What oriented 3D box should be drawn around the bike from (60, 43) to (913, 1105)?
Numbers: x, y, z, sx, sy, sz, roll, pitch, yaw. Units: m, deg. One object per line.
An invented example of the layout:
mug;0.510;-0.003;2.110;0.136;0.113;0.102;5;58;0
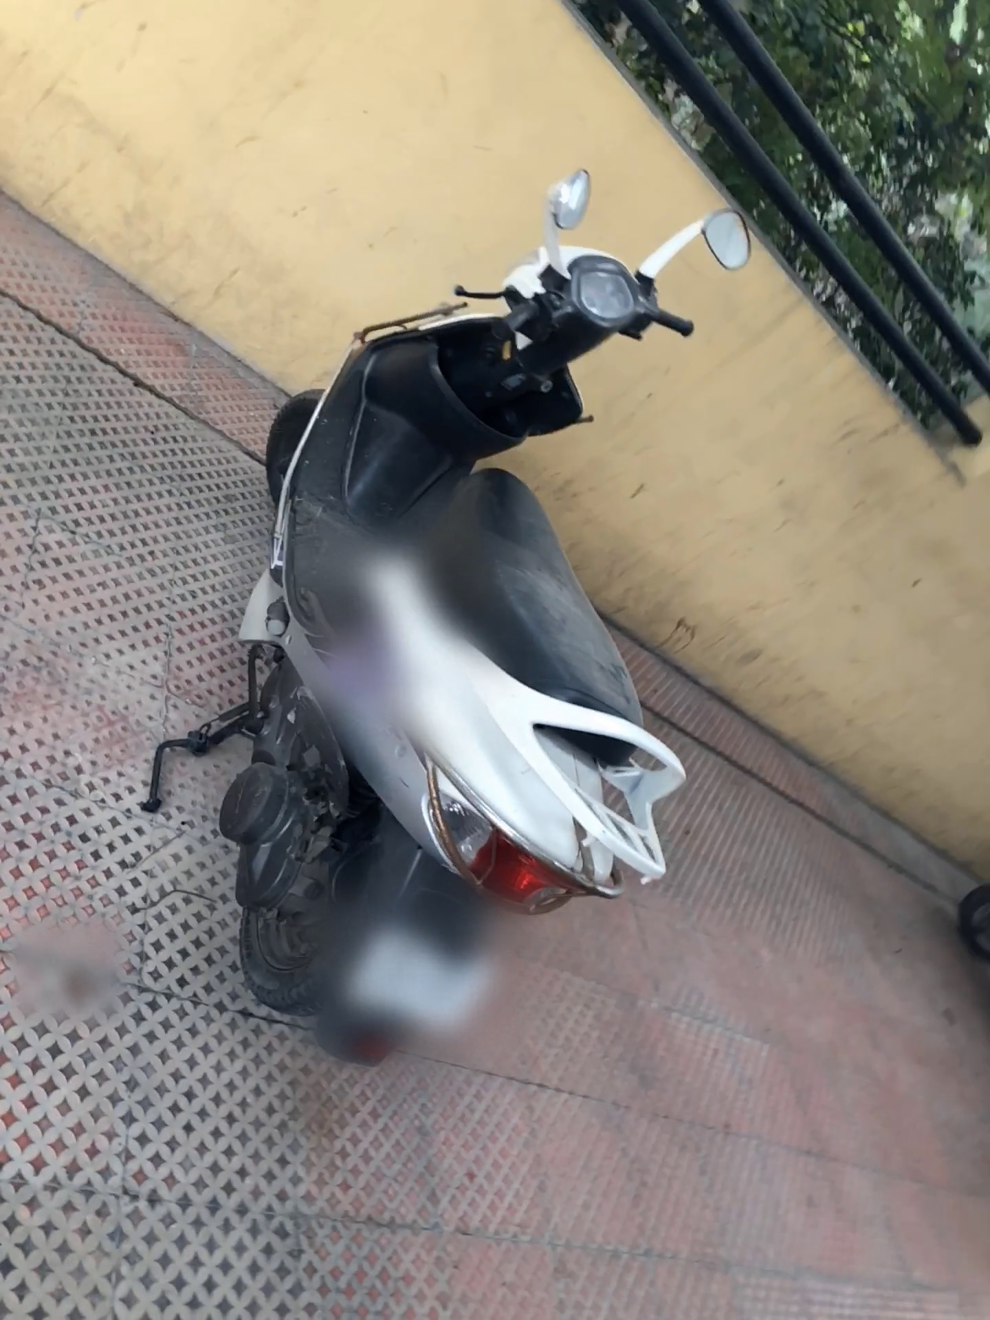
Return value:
bike;-0.102;-0.190;1.990;0.599;1.083;1.479;32;35;-37
